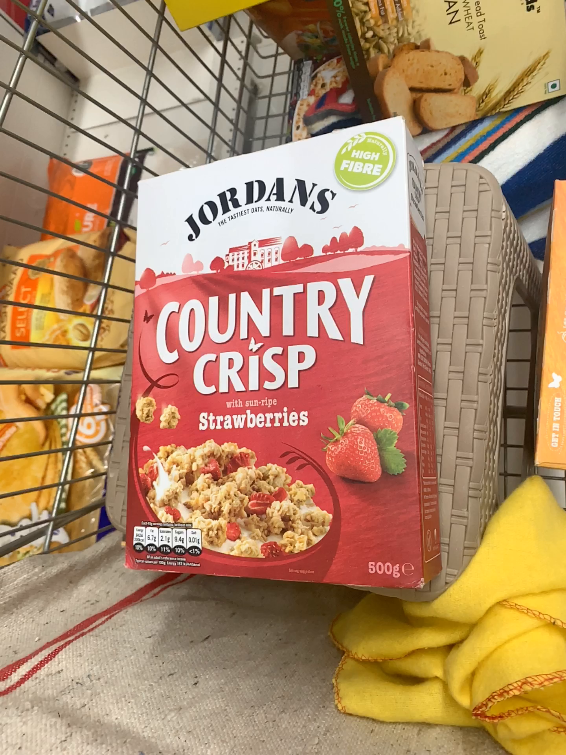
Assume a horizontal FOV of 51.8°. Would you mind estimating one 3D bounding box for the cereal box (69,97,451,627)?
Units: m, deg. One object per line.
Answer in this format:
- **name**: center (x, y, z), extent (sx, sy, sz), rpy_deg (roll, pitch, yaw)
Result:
- **cereal box**: center (-0.013, -0.003, 0.315), extent (0.181, 0.070, 0.230), rpy_deg (-5, 78, 24)
